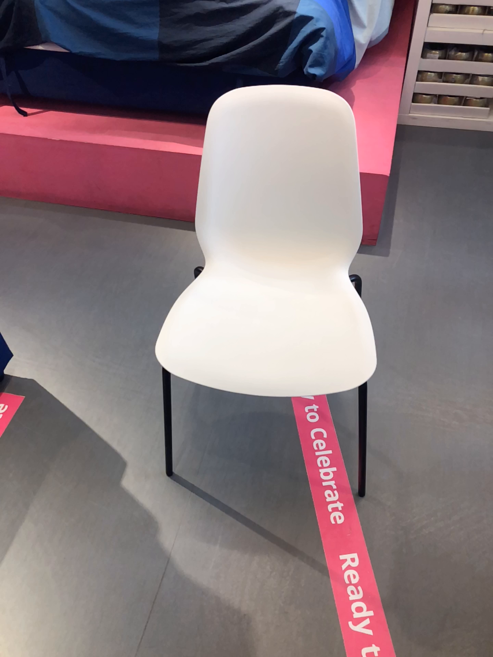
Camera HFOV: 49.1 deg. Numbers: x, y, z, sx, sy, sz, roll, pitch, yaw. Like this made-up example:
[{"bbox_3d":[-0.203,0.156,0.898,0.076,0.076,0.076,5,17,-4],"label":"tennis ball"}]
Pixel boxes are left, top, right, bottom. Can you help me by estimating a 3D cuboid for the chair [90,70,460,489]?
[{"bbox_3d":[0.071,-0.071,1.186,0.510,0.755,0.493,4,49,6],"label":"chair"}]
